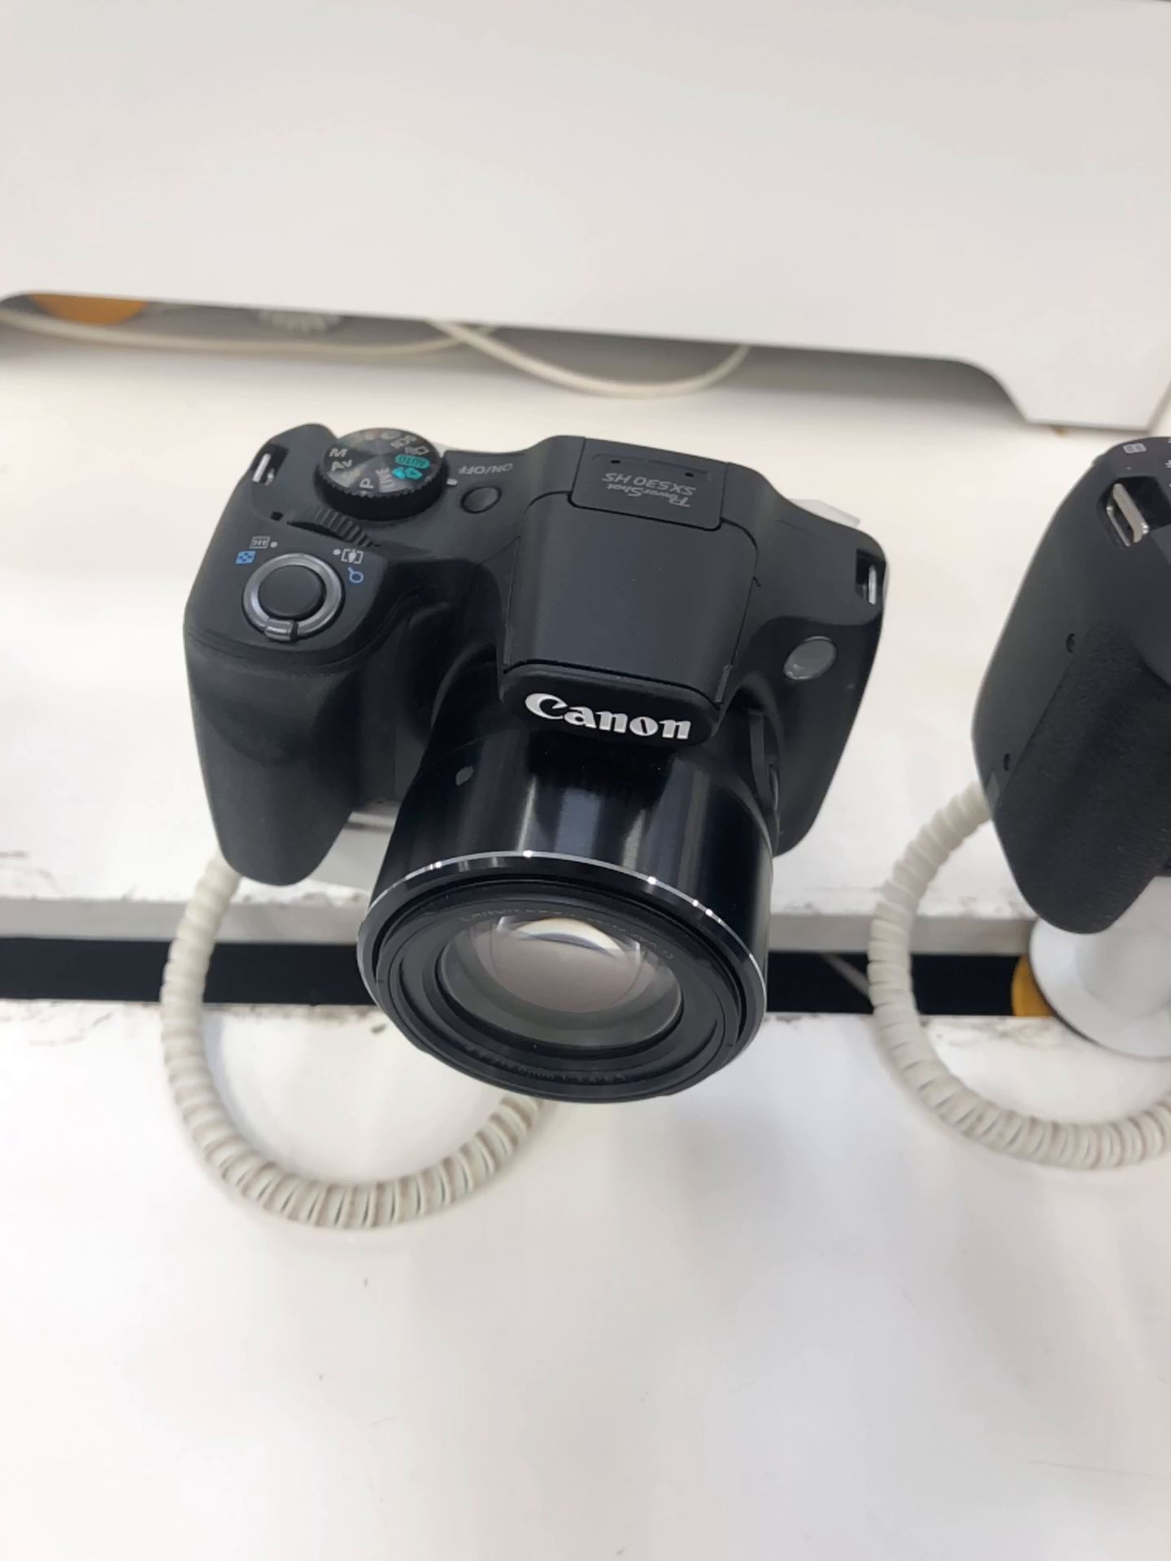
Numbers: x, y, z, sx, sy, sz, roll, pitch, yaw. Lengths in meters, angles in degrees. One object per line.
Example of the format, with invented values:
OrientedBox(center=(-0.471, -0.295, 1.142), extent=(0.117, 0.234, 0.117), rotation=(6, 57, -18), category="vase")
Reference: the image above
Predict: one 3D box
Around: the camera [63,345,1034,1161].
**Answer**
OrientedBox(center=(-0.004, -0.002, 0.220), extent=(0.120, 0.089, 0.080), rotation=(9, 49, 0), category="camera")
